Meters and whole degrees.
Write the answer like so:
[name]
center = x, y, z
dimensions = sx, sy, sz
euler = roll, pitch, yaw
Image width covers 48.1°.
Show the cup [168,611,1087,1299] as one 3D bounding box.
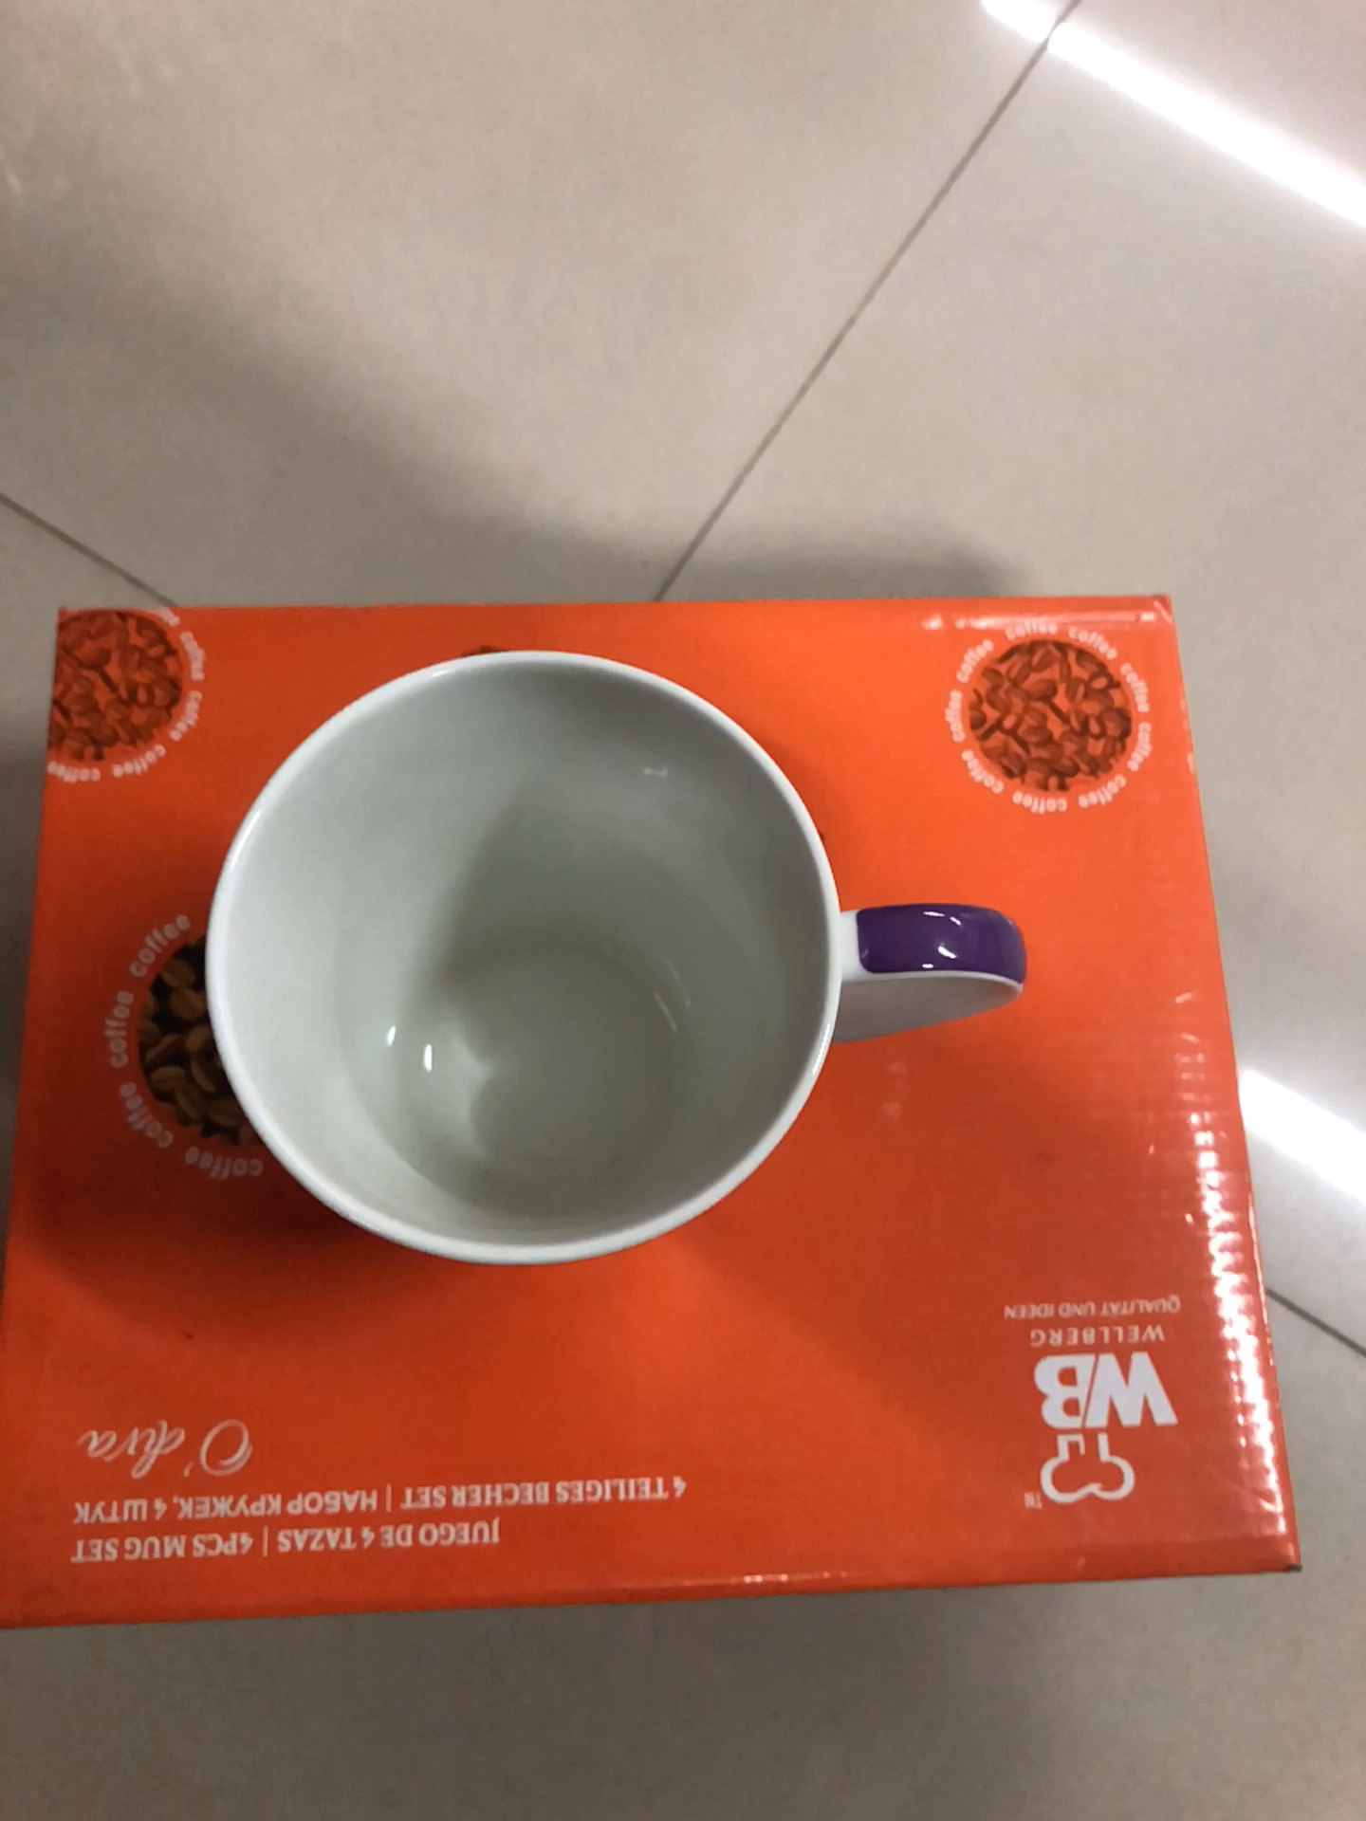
[cup]
center = -0.011, 0.015, 0.243
dimensions = 0.110, 0.100, 0.080
euler = -5, 76, -4
